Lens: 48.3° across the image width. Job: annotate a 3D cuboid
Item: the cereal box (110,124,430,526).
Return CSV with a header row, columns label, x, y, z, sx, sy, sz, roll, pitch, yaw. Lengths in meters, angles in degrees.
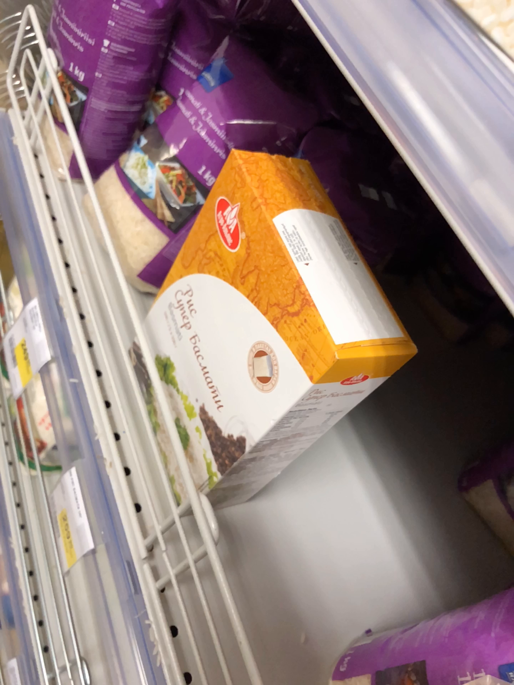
label,x,y,z,sx,sy,sz,roll,pitch,yaw
cereal box,-0.014,0.000,0.338,0.060,0.189,0.140,-4,57,-35
